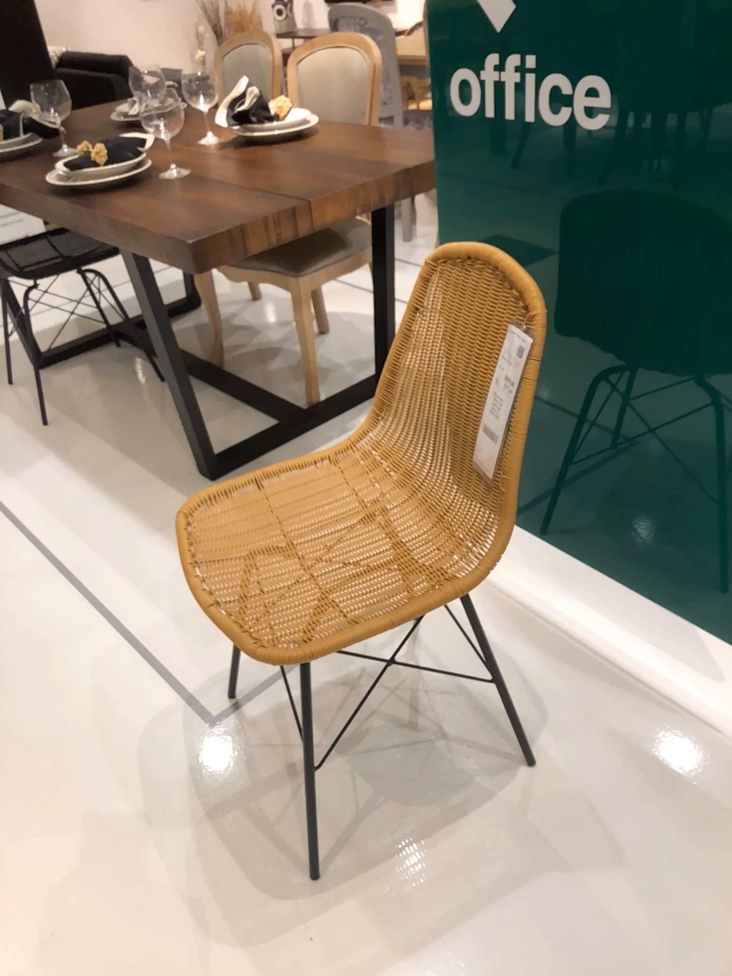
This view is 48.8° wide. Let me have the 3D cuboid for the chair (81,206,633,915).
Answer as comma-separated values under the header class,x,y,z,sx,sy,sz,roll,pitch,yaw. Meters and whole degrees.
class,x,y,z,sx,sy,sz,roll,pitch,yaw
chair,-0.001,0.099,1.292,0.571,0.863,0.493,-20,36,-18
